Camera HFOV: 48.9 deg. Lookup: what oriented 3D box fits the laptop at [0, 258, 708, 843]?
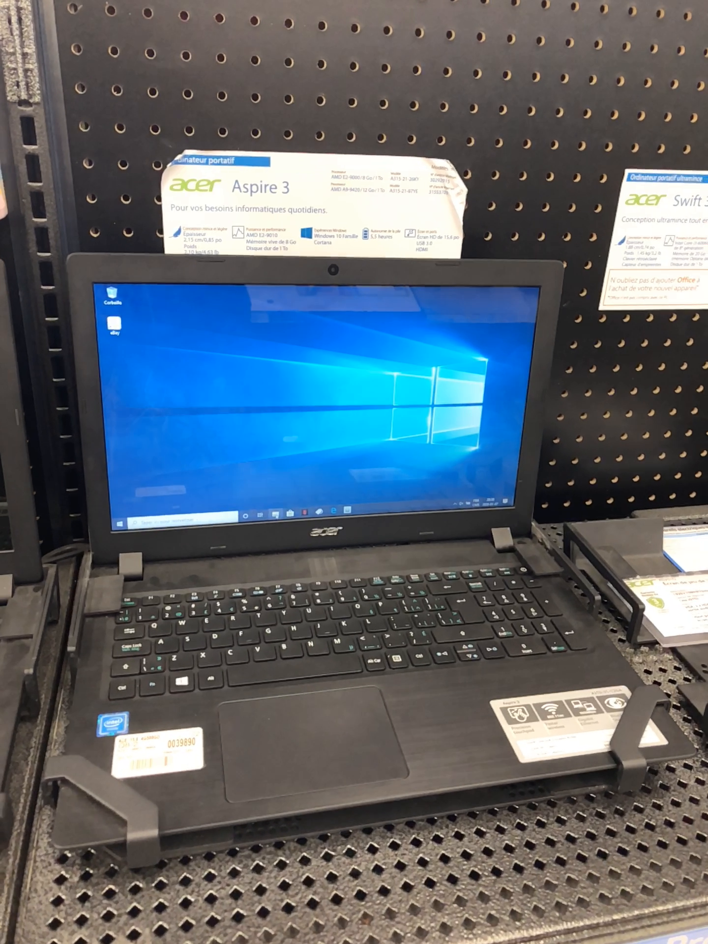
[{"bbox_3d":[0.004,0.012,0.533,0.386,0.247,0.296,-3,27,-12],"label":"laptop"}]
